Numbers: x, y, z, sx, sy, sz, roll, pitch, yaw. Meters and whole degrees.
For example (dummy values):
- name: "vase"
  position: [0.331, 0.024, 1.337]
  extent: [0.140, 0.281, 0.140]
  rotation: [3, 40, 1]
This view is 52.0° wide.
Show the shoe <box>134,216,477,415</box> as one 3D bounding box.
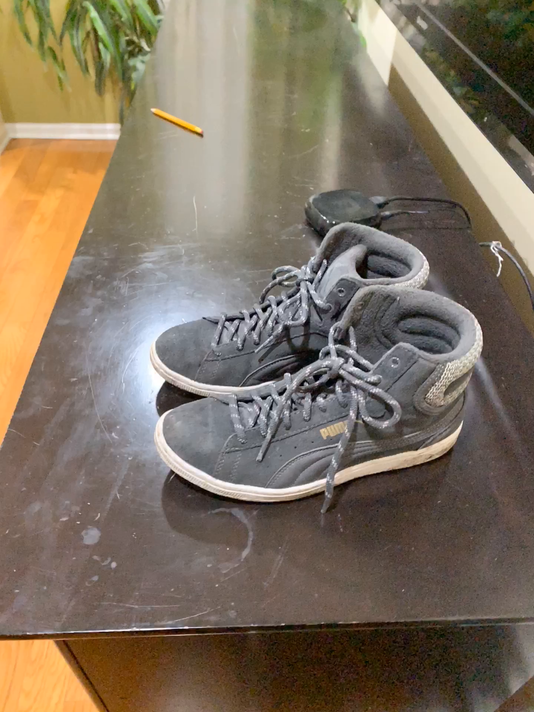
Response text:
- name: "shoe"
  position: [0.025, -0.039, 0.478]
  extent: [0.260, 0.107, 0.101]
  rotation: [-7, 45, -9]

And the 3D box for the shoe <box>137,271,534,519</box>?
- name: "shoe"
  position: [0.041, 0.027, 0.410]
  extent: [0.252, 0.124, 0.098]
  rotation: [-6, 45, -9]
